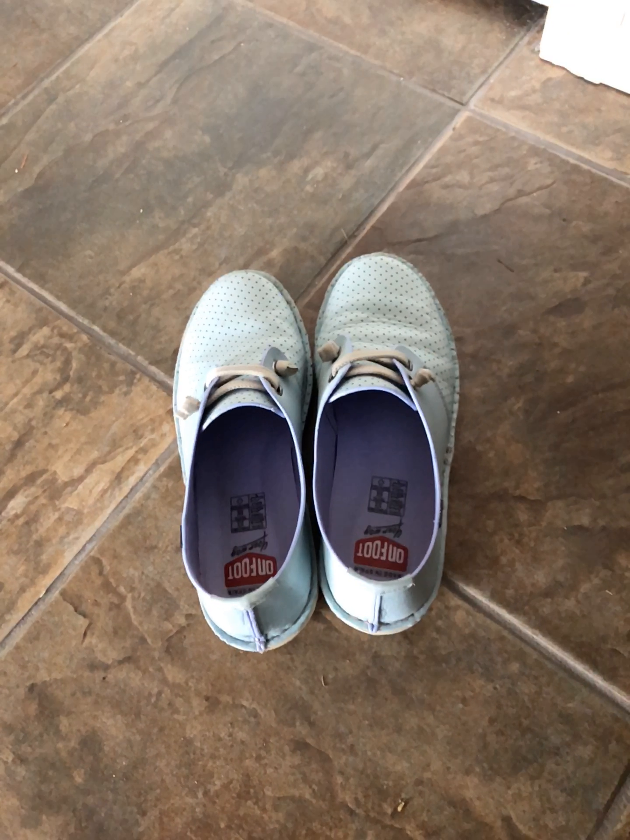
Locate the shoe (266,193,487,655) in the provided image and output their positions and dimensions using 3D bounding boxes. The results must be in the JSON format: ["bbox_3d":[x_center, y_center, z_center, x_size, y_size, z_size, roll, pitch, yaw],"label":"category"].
[{"bbox_3d":[0.038,0.001,0.410,0.100,0.100,0.251,1,67,6],"label":"shoe"}]

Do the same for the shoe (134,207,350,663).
[{"bbox_3d":[-0.045,0.008,0.425,0.100,0.100,0.251,-7,67,2],"label":"shoe"}]
